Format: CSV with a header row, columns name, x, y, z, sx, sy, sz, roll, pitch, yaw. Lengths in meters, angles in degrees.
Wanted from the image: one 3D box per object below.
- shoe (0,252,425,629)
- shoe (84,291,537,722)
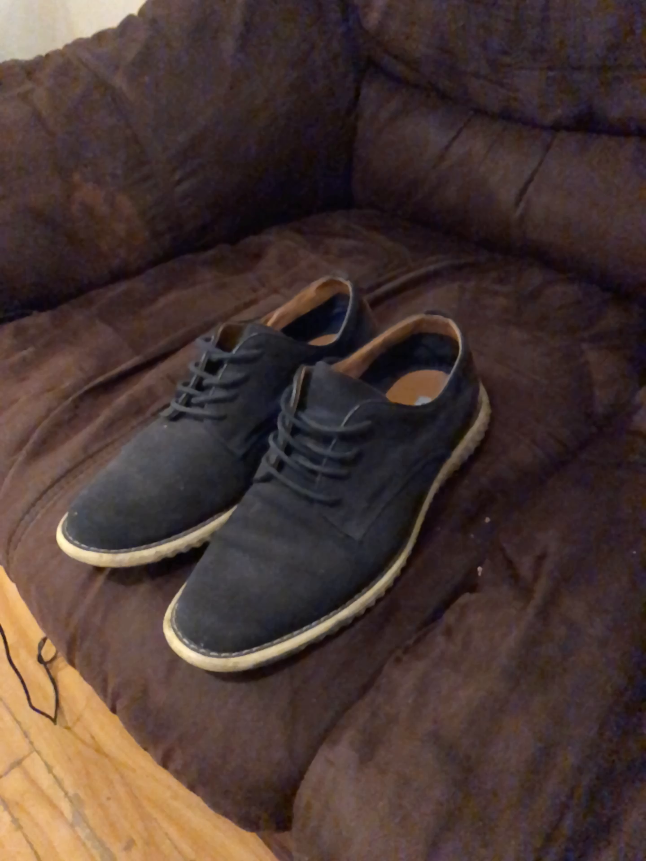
name,x,y,z,sx,sy,sz,roll,pitch,yaw
shoe,-0.062,-0.014,0.521,0.121,0.099,0.291,28,51,34
shoe,0.011,0.023,0.463,0.120,0.079,0.291,25,49,32
